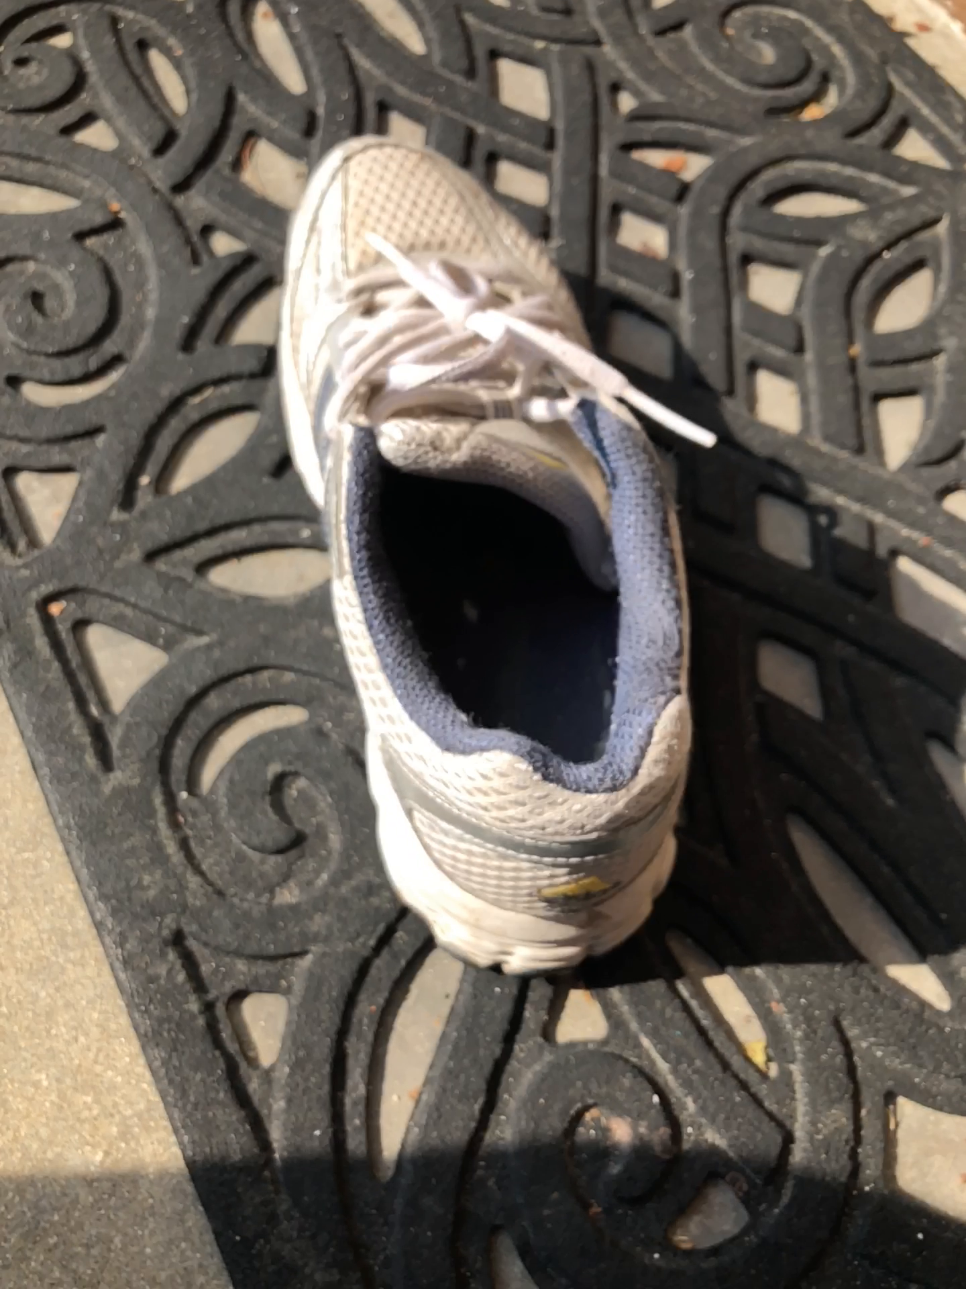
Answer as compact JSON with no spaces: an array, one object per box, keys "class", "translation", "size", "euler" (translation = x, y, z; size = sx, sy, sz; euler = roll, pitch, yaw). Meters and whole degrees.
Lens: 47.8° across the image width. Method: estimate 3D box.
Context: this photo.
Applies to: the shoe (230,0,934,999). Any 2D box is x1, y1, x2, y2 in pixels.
[{"class":"shoe","translation":[0.005,-0.053,0.306],"size":[0.100,0.130,0.260],"euler":[-10,65,-7]}]
